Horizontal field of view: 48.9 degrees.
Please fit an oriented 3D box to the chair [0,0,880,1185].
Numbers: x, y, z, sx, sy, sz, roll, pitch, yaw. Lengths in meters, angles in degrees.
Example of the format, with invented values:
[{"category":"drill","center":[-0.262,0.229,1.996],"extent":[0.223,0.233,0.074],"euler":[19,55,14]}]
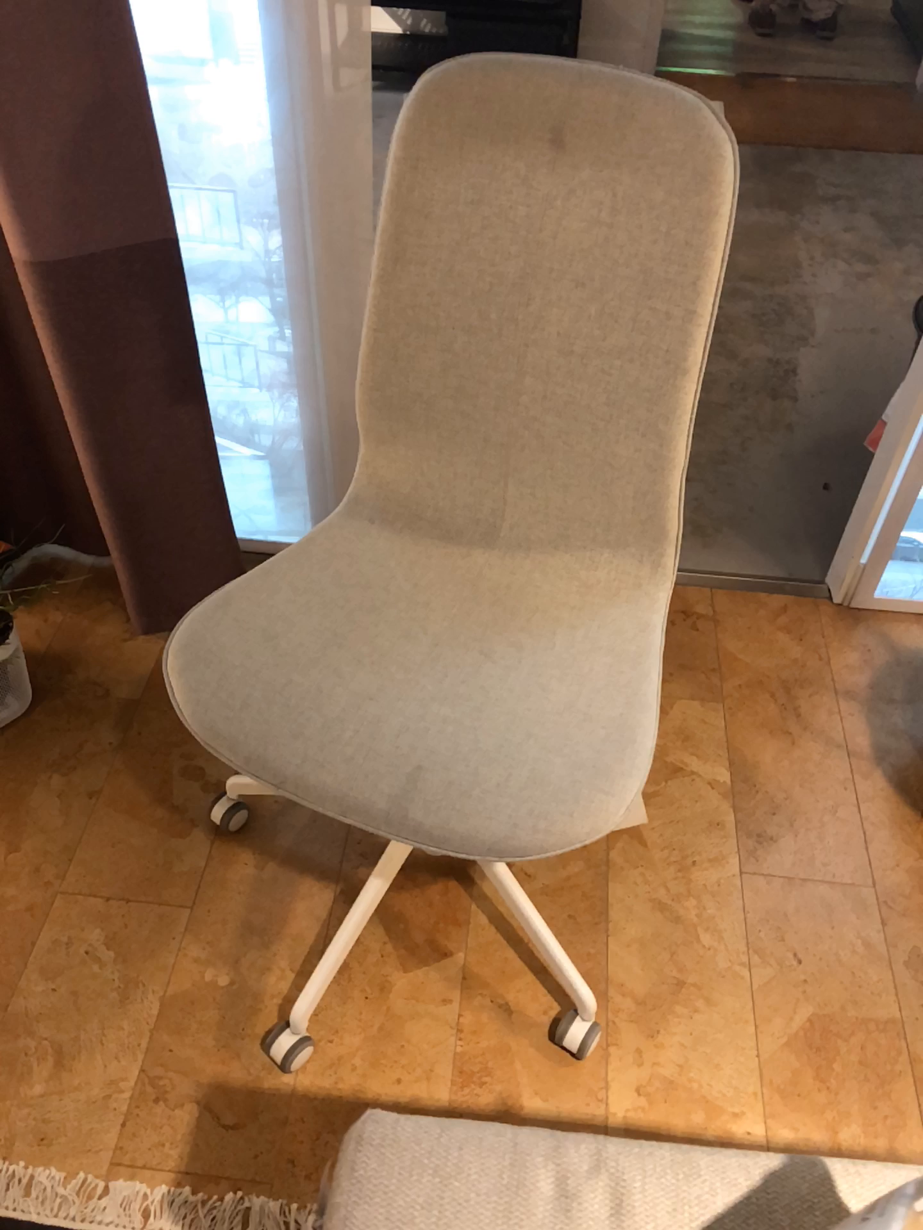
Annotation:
[{"category":"chair","center":[-0.056,-0.007,1.091],"extent":[0.670,0.936,0.692],"euler":[14,47,11]}]
